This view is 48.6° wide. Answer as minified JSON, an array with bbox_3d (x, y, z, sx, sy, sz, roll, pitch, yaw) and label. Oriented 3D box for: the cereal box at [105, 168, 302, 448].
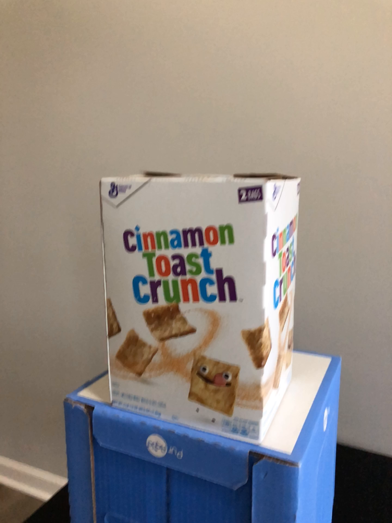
[{"bbox_3d":[0.019,0.037,0.579,0.200,0.309,0.170,4,11,24],"label":"cereal box"}]
